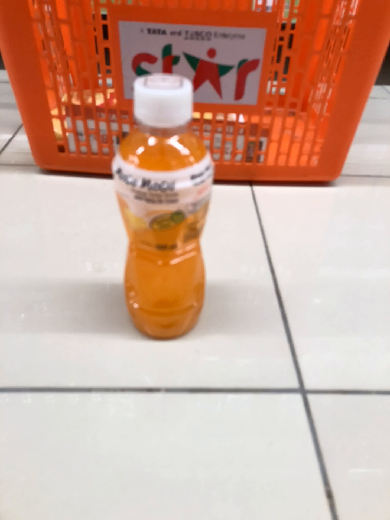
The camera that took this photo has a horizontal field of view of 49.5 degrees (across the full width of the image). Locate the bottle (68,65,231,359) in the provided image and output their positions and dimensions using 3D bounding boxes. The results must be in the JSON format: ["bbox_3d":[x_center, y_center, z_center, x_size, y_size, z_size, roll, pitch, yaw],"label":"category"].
[{"bbox_3d":[-0.024,-0.021,0.253,0.060,0.159,0.050,20,42,20],"label":"bottle"}]
